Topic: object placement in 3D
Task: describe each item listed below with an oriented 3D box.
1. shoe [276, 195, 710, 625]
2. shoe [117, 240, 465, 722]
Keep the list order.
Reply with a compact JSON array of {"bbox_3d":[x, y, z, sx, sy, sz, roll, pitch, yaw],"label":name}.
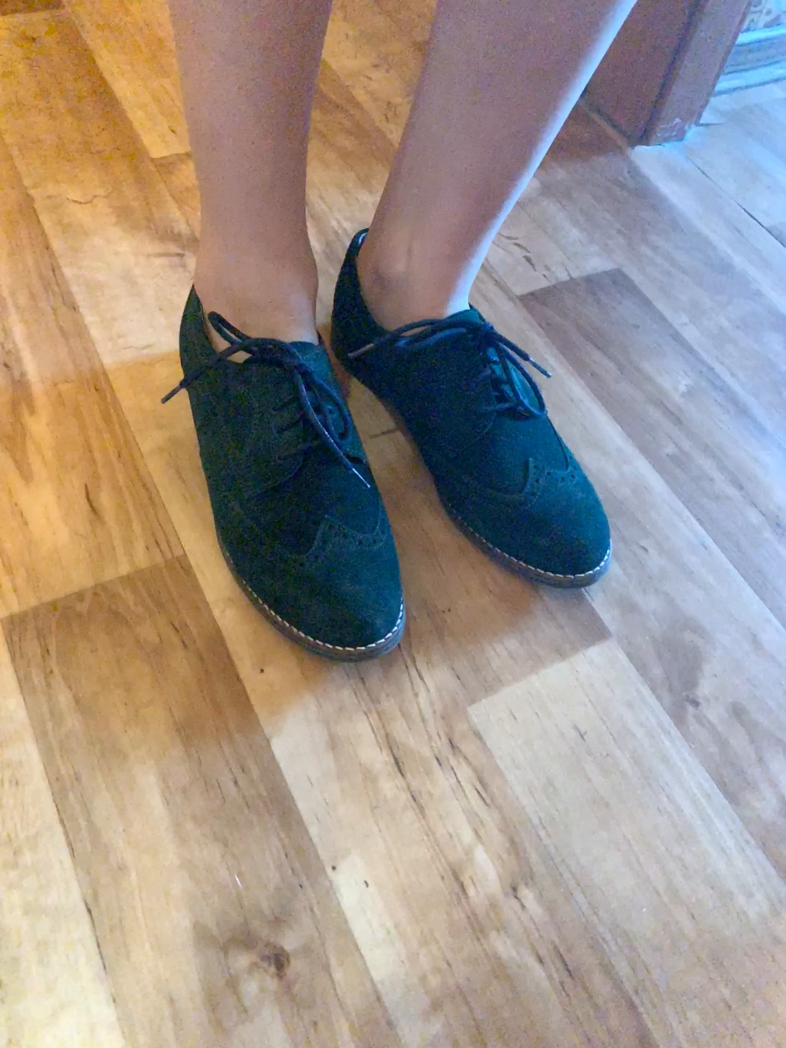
[{"bbox_3d":[0.044,-0.077,0.477,0.100,0.080,0.250,-31,66,-26],"label":"shoe"},{"bbox_3d":[-0.068,-0.036,0.451,0.090,0.080,0.260,-18,61,-20],"label":"shoe"}]
